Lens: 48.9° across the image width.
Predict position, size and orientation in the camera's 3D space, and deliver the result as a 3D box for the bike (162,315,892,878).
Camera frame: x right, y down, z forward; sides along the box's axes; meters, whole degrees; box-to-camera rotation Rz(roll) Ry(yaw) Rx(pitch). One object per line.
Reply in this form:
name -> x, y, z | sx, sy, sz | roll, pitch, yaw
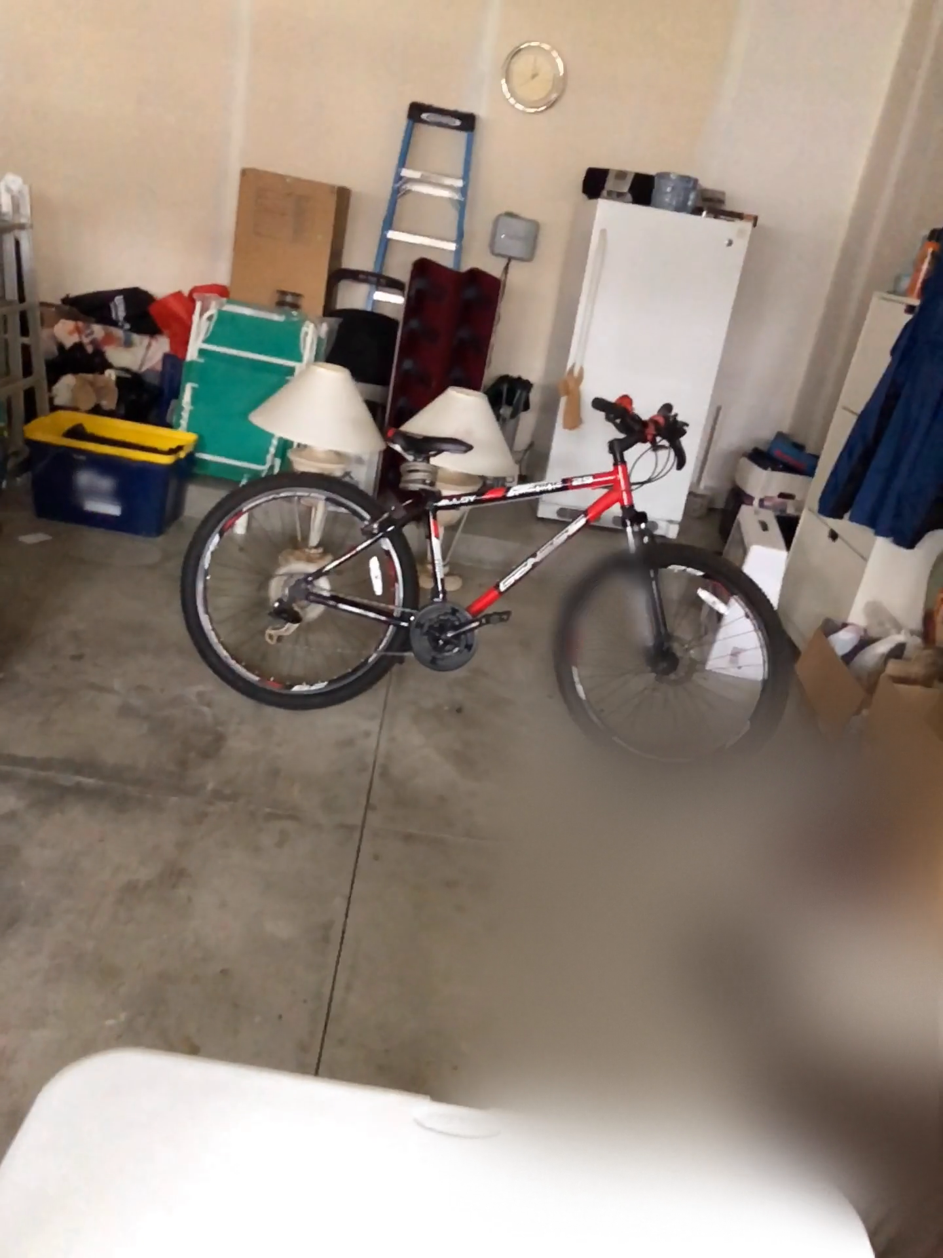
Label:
bike -> 0.034, -0.141, 2.873 | 1.668, 1.054, 0.591 | 13, 20, 5
